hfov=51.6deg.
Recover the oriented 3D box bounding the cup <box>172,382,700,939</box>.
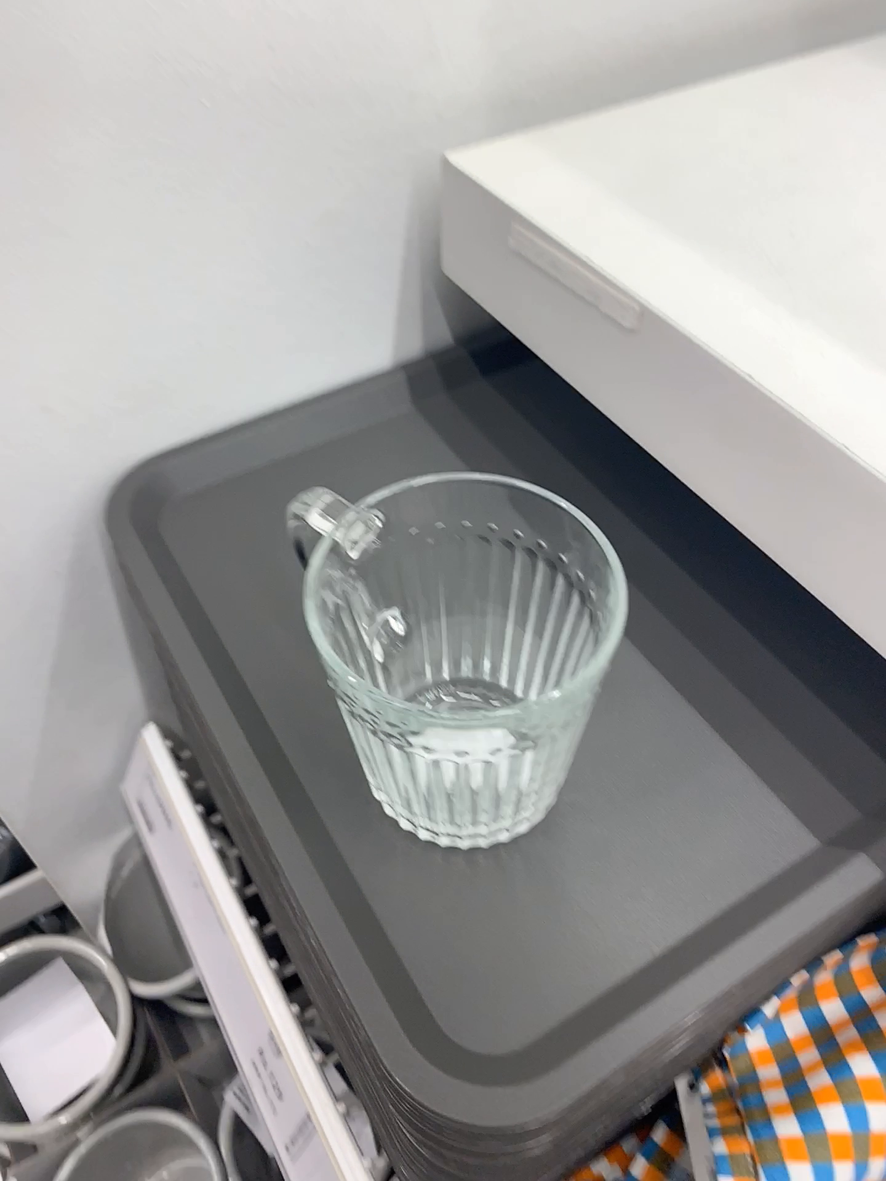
[{"bbox_3d":[-0.005,0.015,0.258,0.080,0.080,0.110,-32,56,-25],"label":"cup"}]
